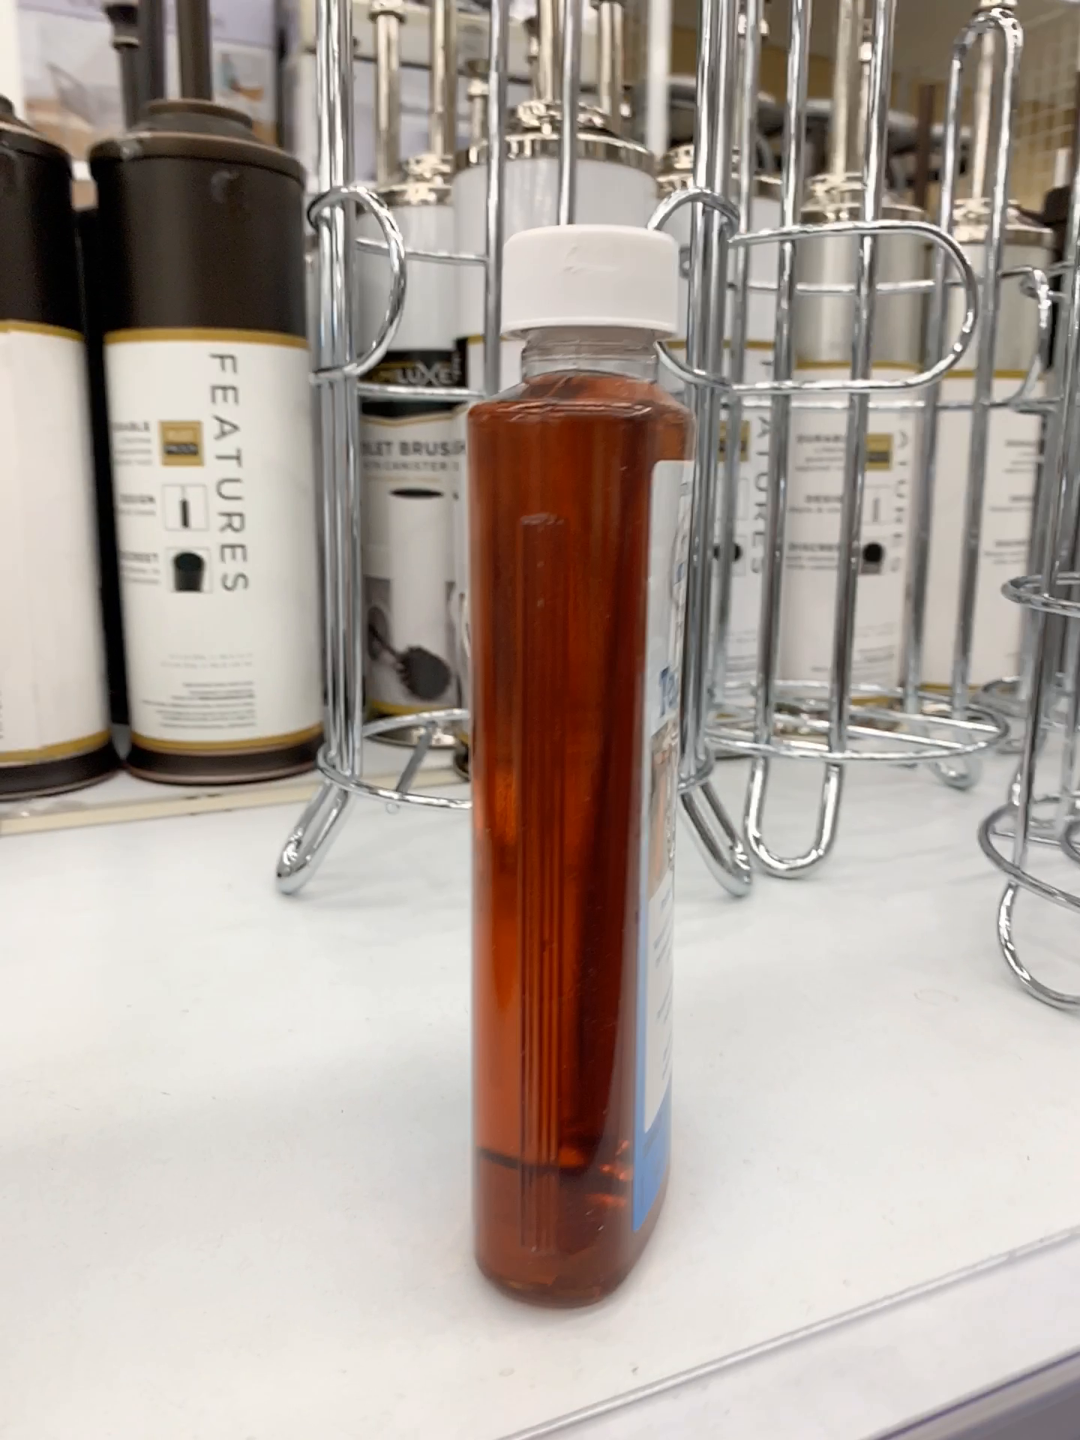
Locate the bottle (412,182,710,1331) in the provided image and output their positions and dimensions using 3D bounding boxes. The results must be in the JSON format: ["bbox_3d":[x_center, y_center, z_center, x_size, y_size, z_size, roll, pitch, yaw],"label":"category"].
[{"bbox_3d":[0.008,0.007,0.242,0.045,0.207,0.088,3,13,9],"label":"bottle"}]
